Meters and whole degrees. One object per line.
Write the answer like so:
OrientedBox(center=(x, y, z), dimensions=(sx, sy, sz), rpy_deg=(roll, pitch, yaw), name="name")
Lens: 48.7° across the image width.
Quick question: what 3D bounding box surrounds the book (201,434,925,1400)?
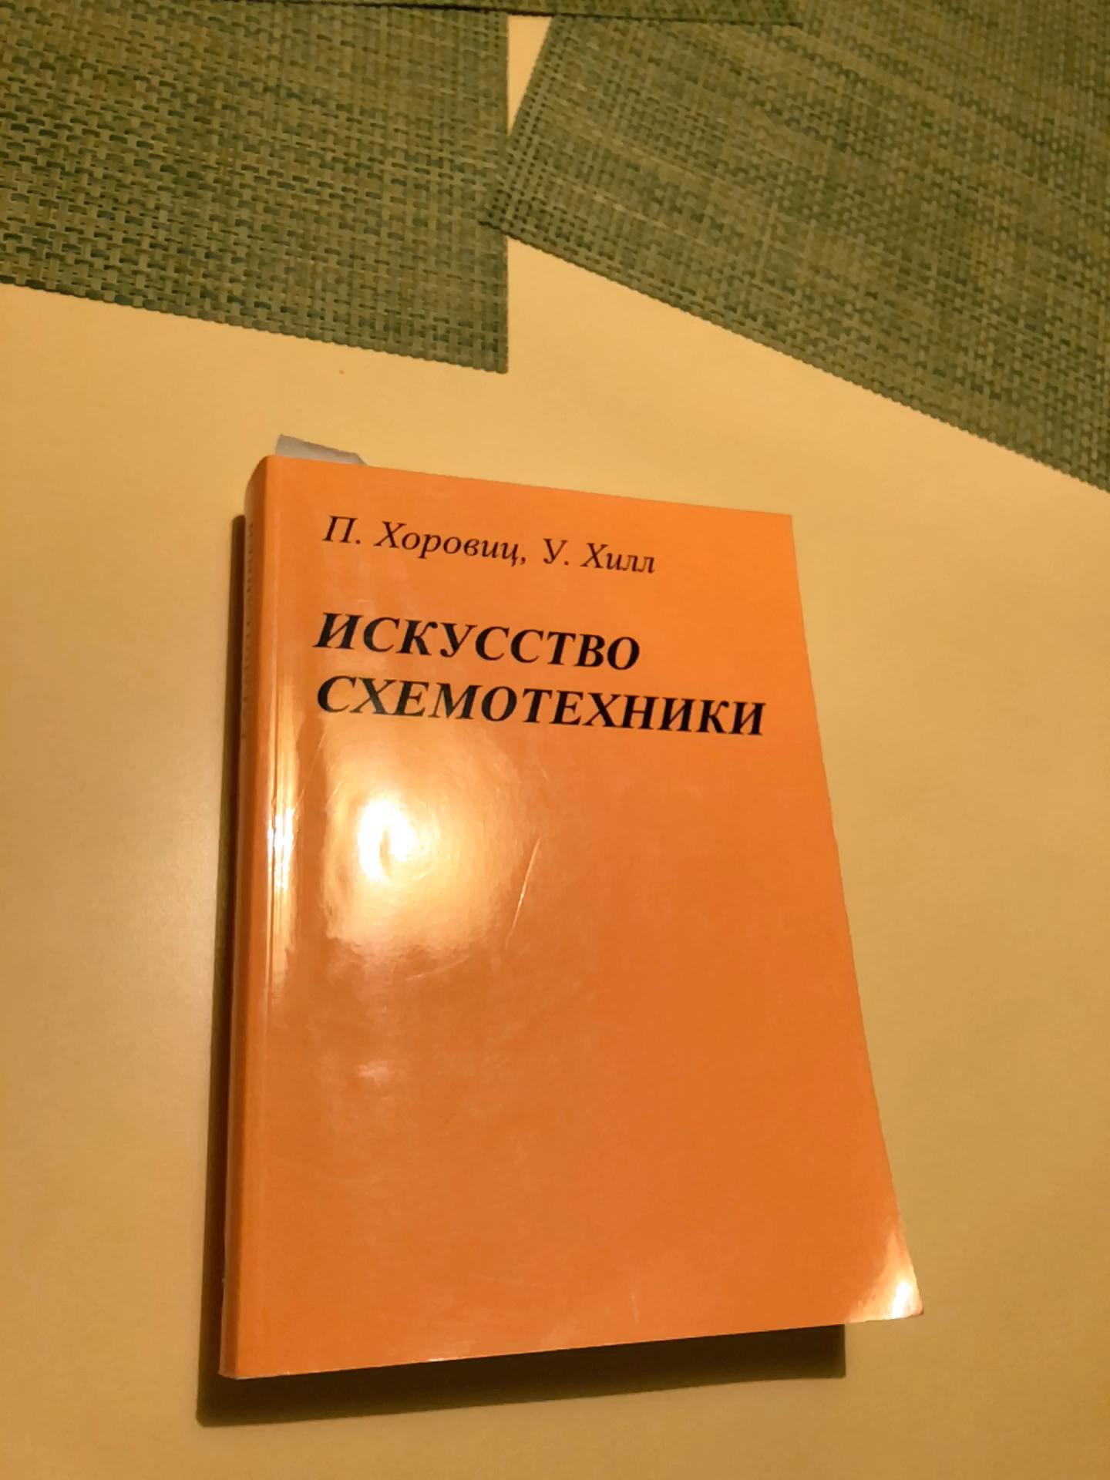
OrientedBox(center=(-0.003, 0.039, 0.344), dimensions=(0.171, 0.048, 0.238), rpy_deg=(4, 68, -17), name="book")
